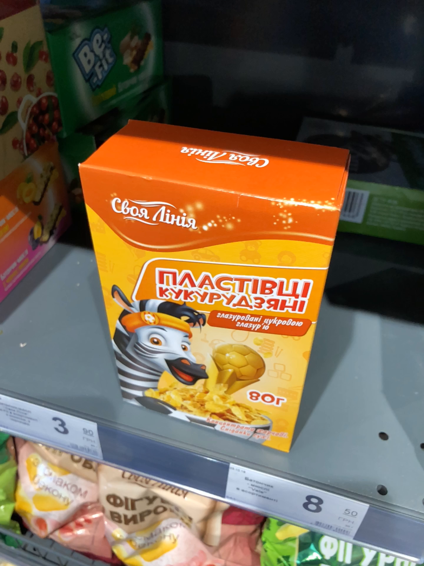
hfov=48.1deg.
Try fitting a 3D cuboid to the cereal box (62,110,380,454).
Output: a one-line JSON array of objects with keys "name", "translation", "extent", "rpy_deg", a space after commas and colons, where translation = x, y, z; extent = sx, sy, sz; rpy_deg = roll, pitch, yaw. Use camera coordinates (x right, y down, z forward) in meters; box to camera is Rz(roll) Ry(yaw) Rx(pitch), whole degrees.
[{"name": "cereal box", "translation": [0.004, 0.006, 0.246], "extent": [0.120, 0.159, 0.050], "rpy_deg": [13, 43, 14]}]
